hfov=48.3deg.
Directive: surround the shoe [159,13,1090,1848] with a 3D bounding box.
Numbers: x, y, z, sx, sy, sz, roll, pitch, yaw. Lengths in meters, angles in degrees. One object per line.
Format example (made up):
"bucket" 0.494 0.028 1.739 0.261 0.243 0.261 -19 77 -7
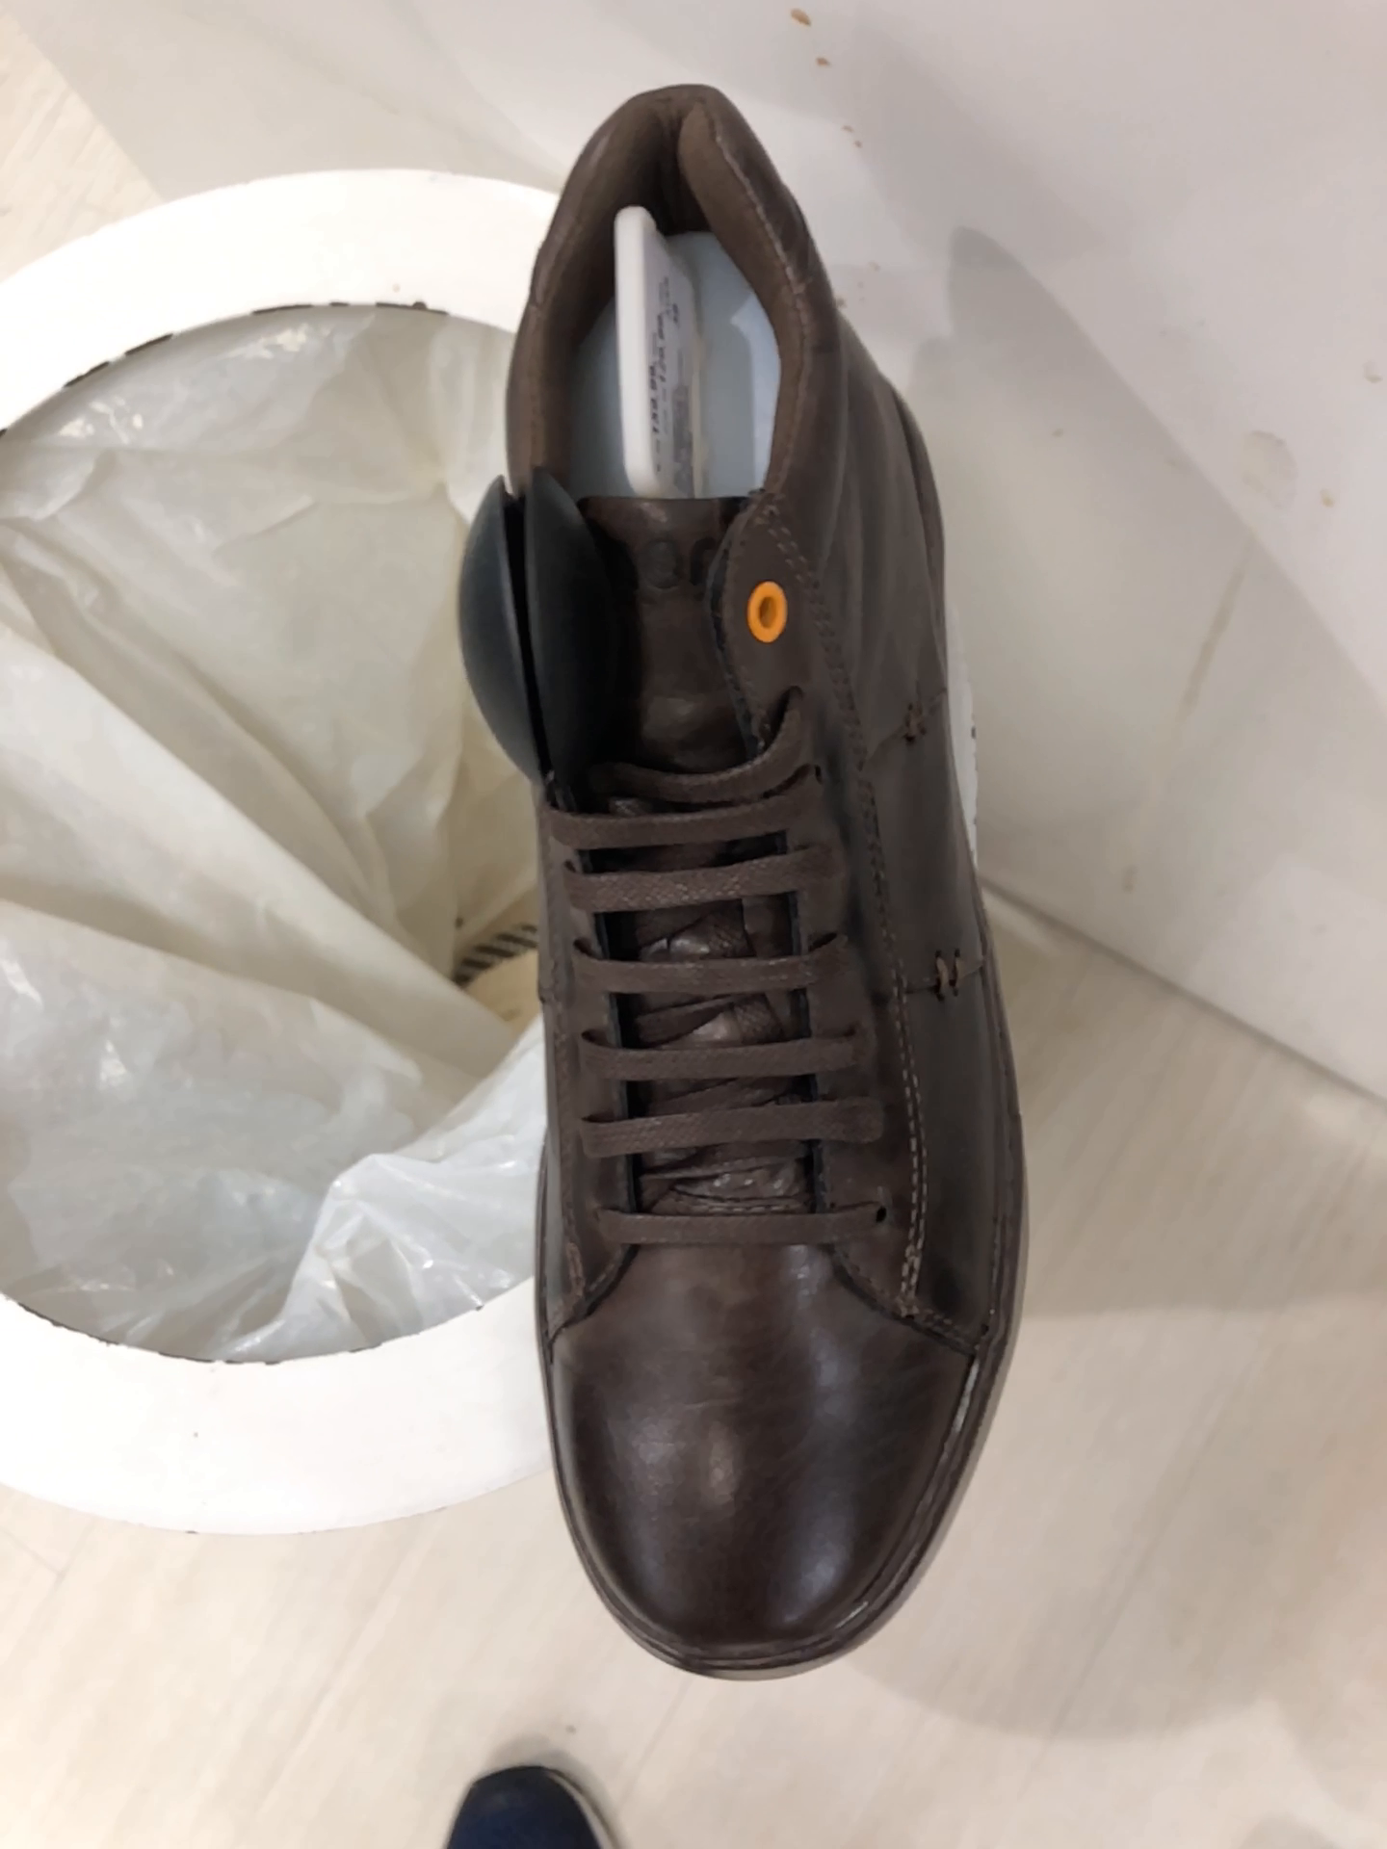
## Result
"shoe" 0.006 0.006 0.290 0.120 0.140 0.270 1 80 11
